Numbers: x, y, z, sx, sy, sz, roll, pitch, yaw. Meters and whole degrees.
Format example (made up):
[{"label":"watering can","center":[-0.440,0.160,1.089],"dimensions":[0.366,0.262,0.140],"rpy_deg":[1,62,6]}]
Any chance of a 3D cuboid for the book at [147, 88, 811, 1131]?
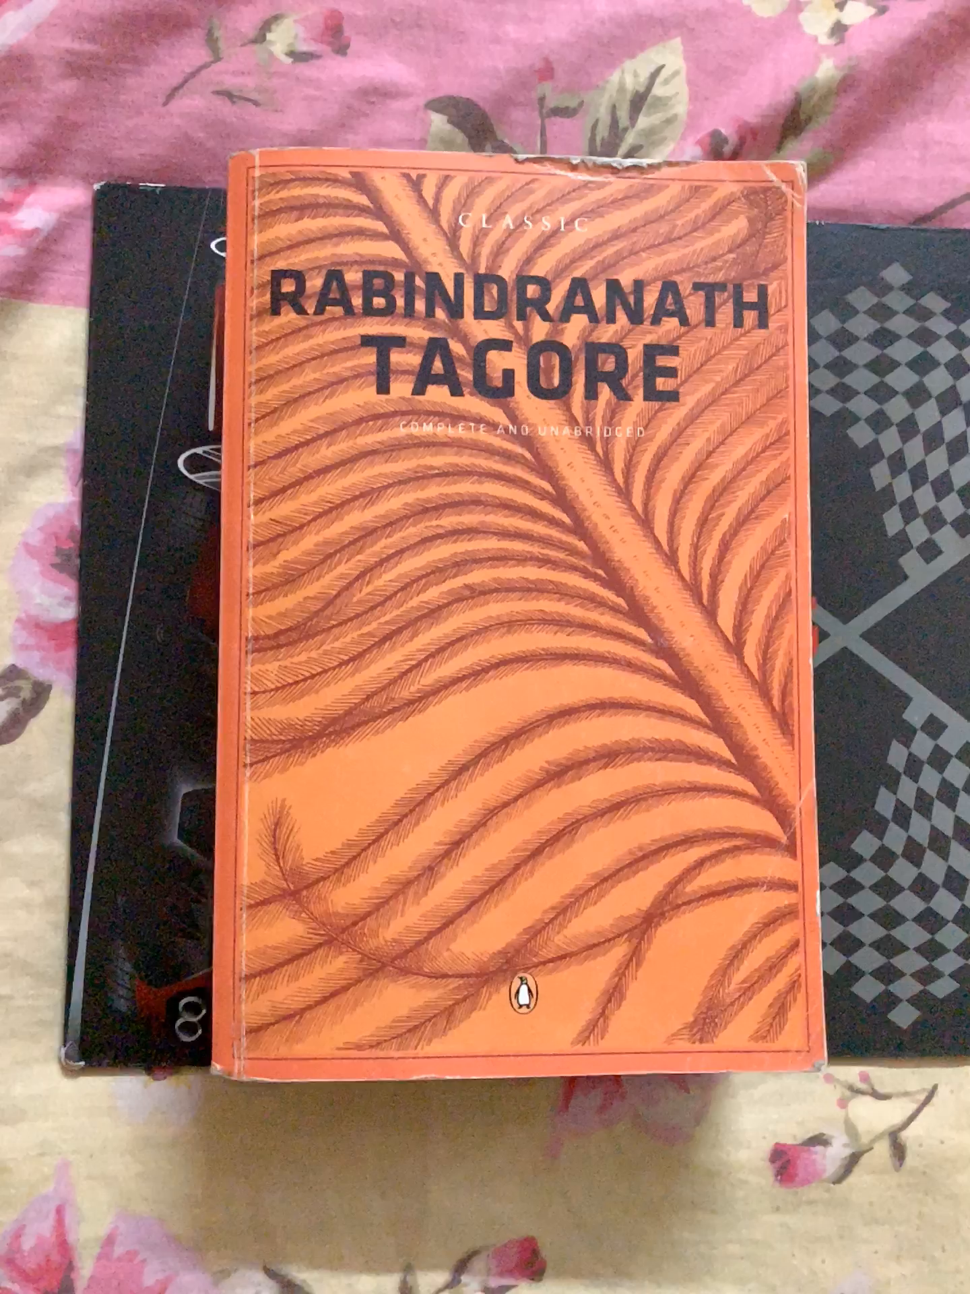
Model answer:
[{"label":"book","center":[0.001,-0.008,0.236],"dimensions":[0.130,0.060,0.210],"rpy_deg":[2,85,-5]}]
